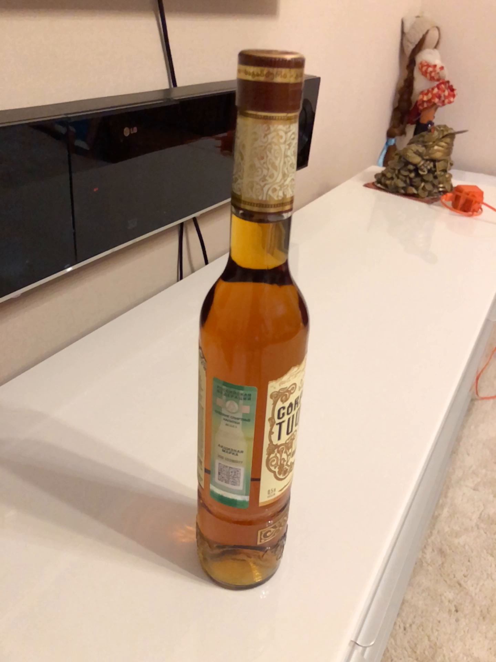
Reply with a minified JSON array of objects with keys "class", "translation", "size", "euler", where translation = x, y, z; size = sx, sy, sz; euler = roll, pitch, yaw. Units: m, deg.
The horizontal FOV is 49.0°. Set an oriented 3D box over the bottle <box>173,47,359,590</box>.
[{"class":"bottle","translation":[0.002,0.015,0.311],"size":[0.070,0.308,0.070],"euler":[2,30,-1]}]
